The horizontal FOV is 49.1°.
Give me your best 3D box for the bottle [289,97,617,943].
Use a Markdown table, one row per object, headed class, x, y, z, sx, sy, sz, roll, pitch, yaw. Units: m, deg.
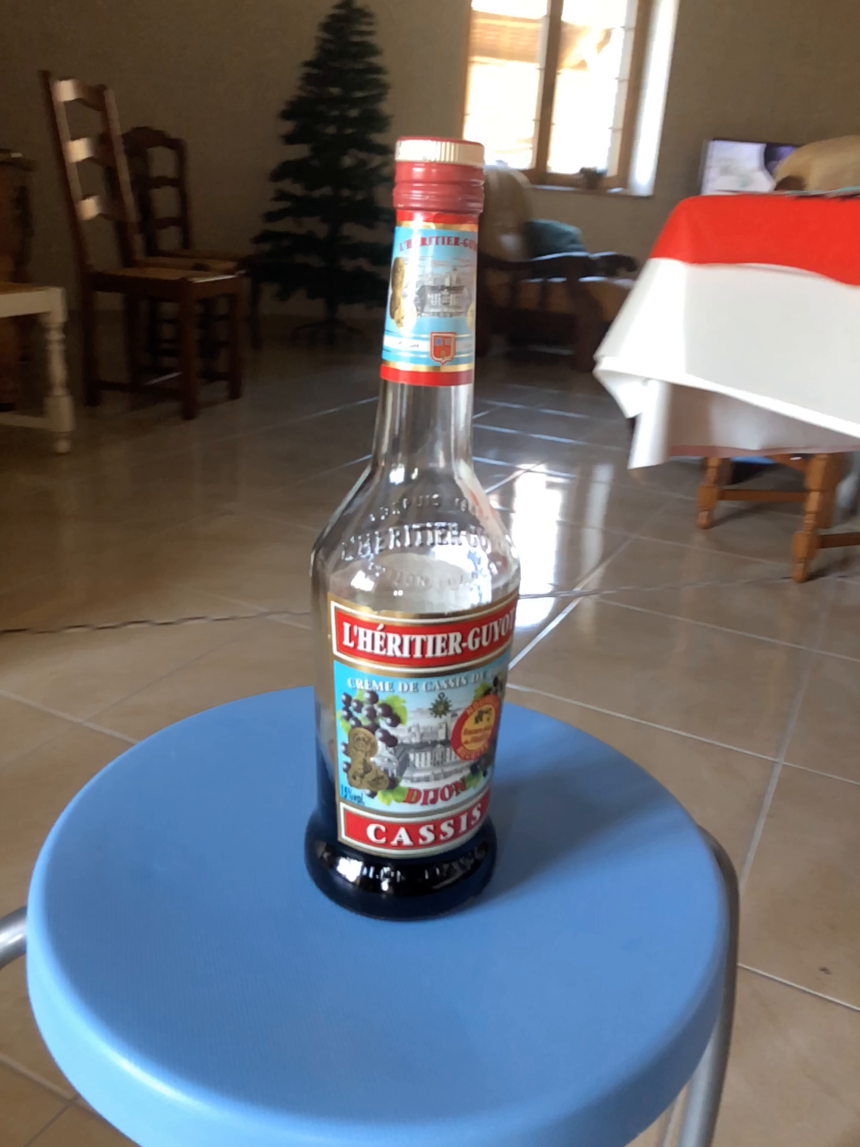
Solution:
| class | x | y | z | sx | sy | sz | roll | pitch | yaw |
| --- | --- | --- | --- | --- | --- | --- | --- | --- | --- |
| bottle | -0.005 | -0.012 | 0.369 | 0.090 | 0.299 | 0.090 | 3 | 20 | -1 |
